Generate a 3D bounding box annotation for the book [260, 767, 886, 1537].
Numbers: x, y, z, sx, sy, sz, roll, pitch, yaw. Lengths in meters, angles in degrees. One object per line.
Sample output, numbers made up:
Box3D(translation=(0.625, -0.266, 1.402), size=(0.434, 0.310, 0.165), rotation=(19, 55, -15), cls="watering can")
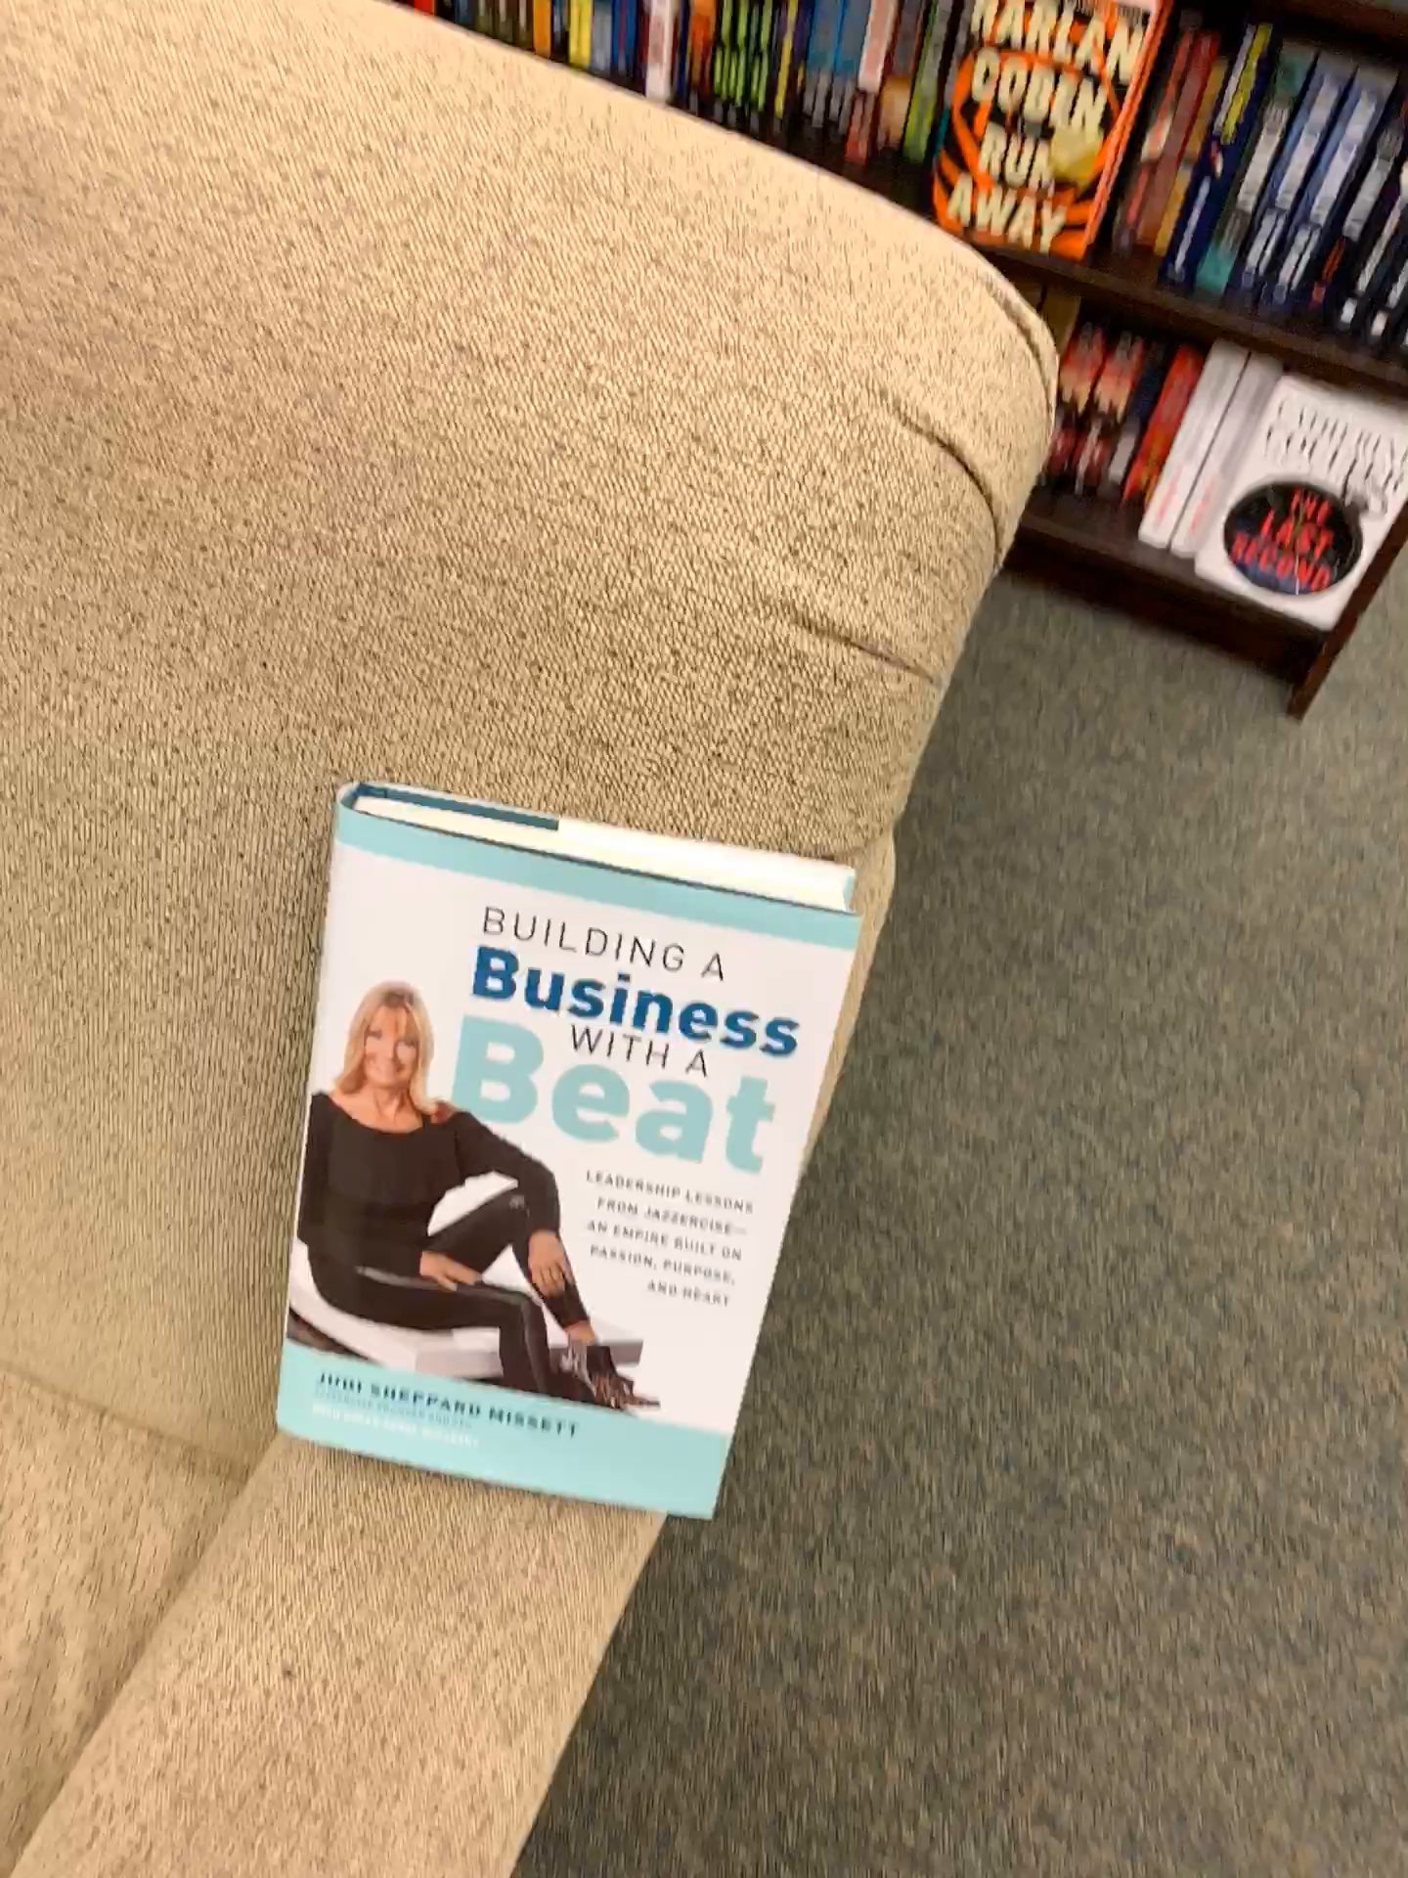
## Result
Box3D(translation=(-0.049, 0.075, 0.466), size=(0.170, 0.230, 0.040), rotation=(11, 24, 3), cls="book")
